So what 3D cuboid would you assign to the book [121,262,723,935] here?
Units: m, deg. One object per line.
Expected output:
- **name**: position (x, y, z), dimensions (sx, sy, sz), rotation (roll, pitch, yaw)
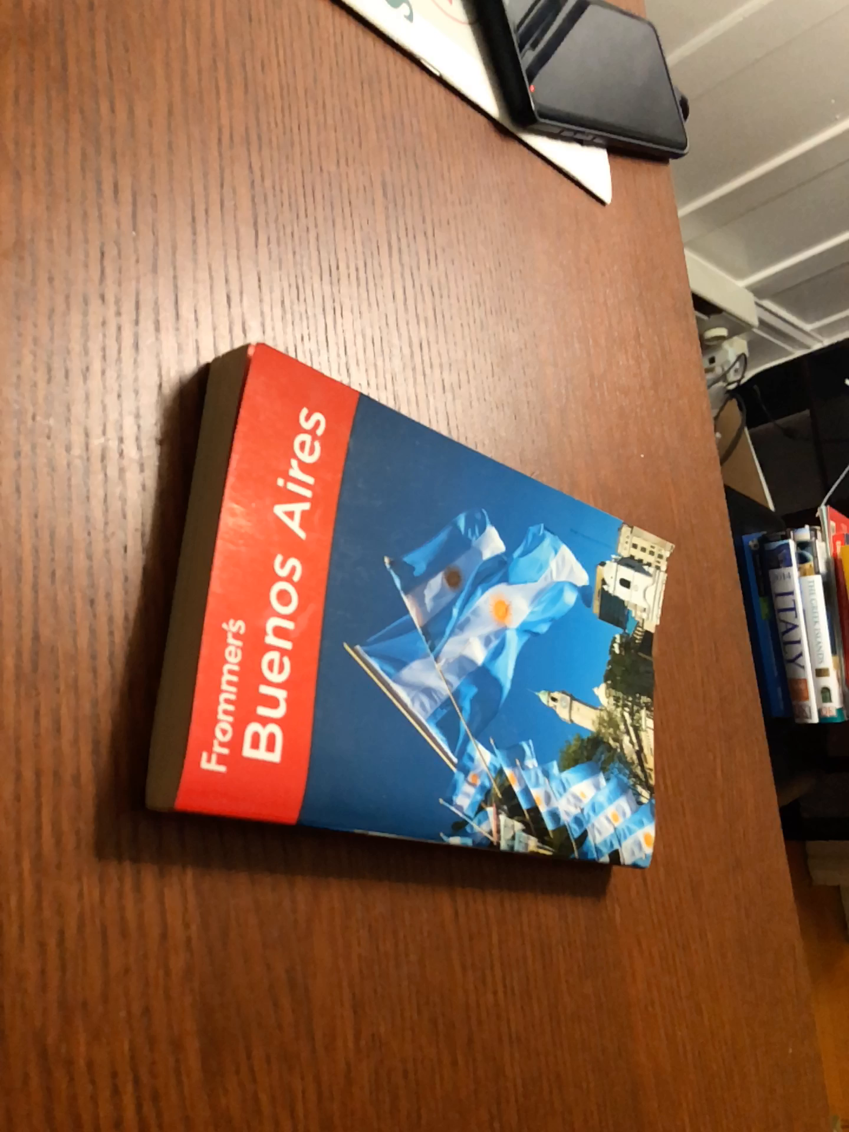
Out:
- **book**: position (0.025, 0.027, 0.297), dimensions (0.221, 0.020, 0.160), rotation (22, 63, -39)
